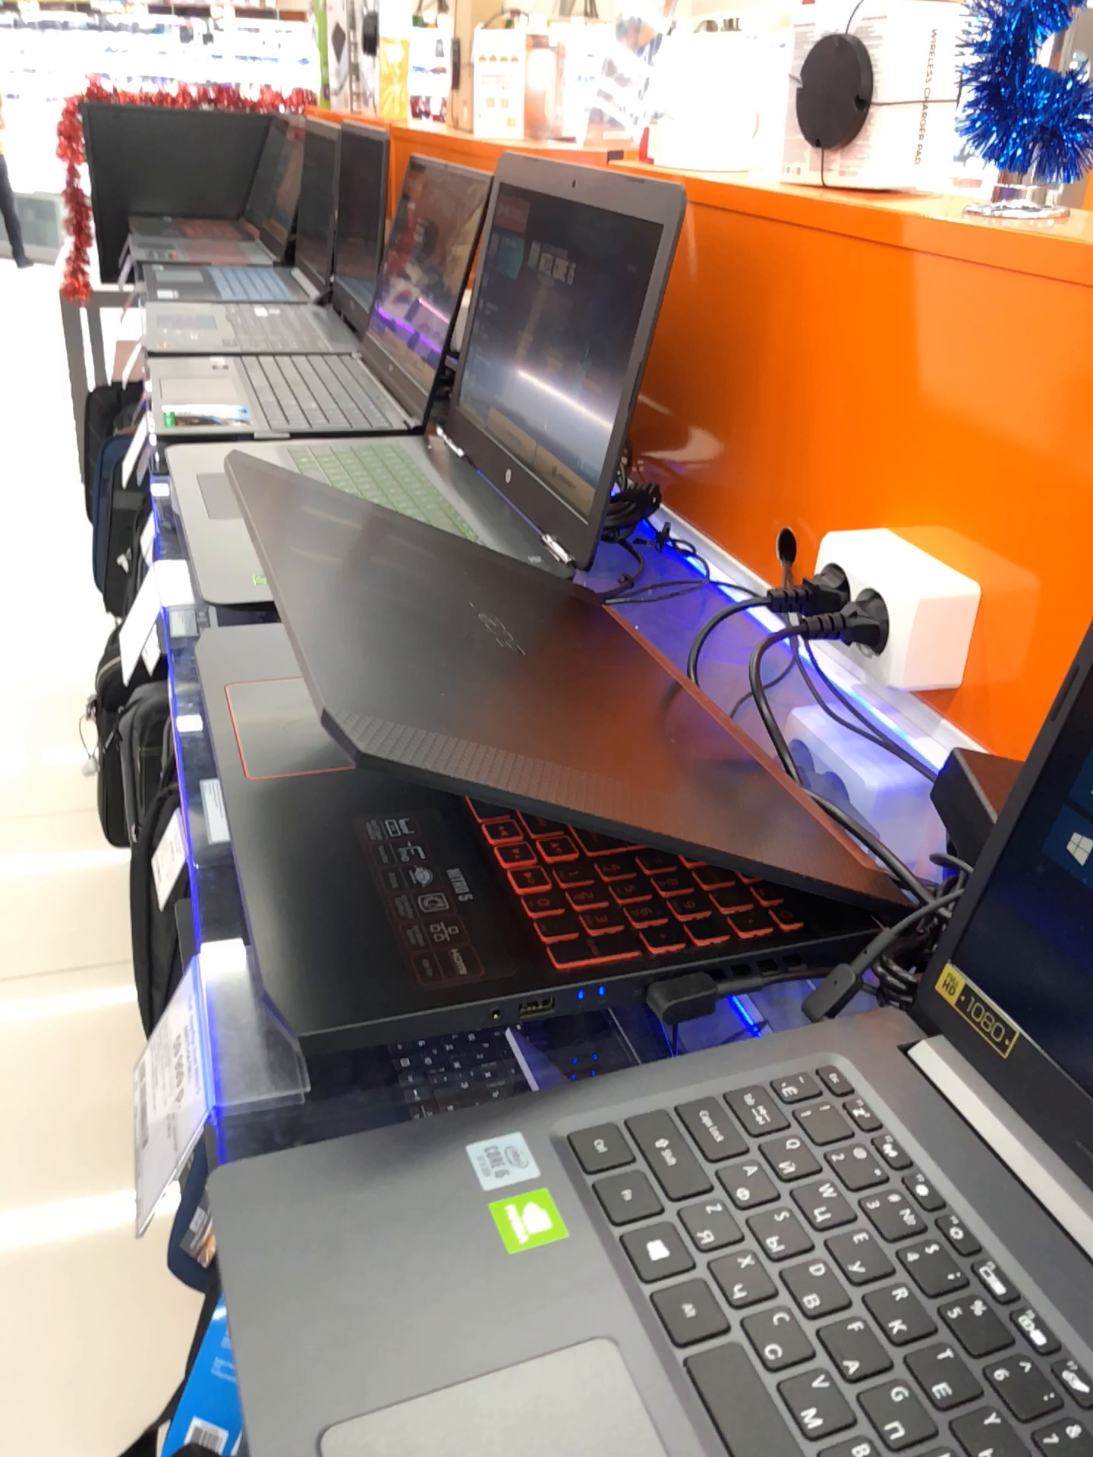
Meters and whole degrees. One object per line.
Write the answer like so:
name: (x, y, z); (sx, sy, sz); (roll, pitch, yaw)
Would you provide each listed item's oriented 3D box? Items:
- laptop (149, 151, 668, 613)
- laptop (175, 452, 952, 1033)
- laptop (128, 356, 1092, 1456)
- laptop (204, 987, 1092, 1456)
laptop: (-0.133, -0.293, 0.927); (0.310, 0.250, 0.416); (-6, 27, -19)
laptop: (-0.031, -0.034, 0.576); (0.248, 0.103, 0.359); (-6, 28, -19)
laptop: (0.108, 0.083, 0.210); (0.312, 0.226, 0.344); (-7, 28, -20)
laptop: (0.066, 0.321, 0.421); (0.296, 0.221, 0.406); (-6, 27, -20)
